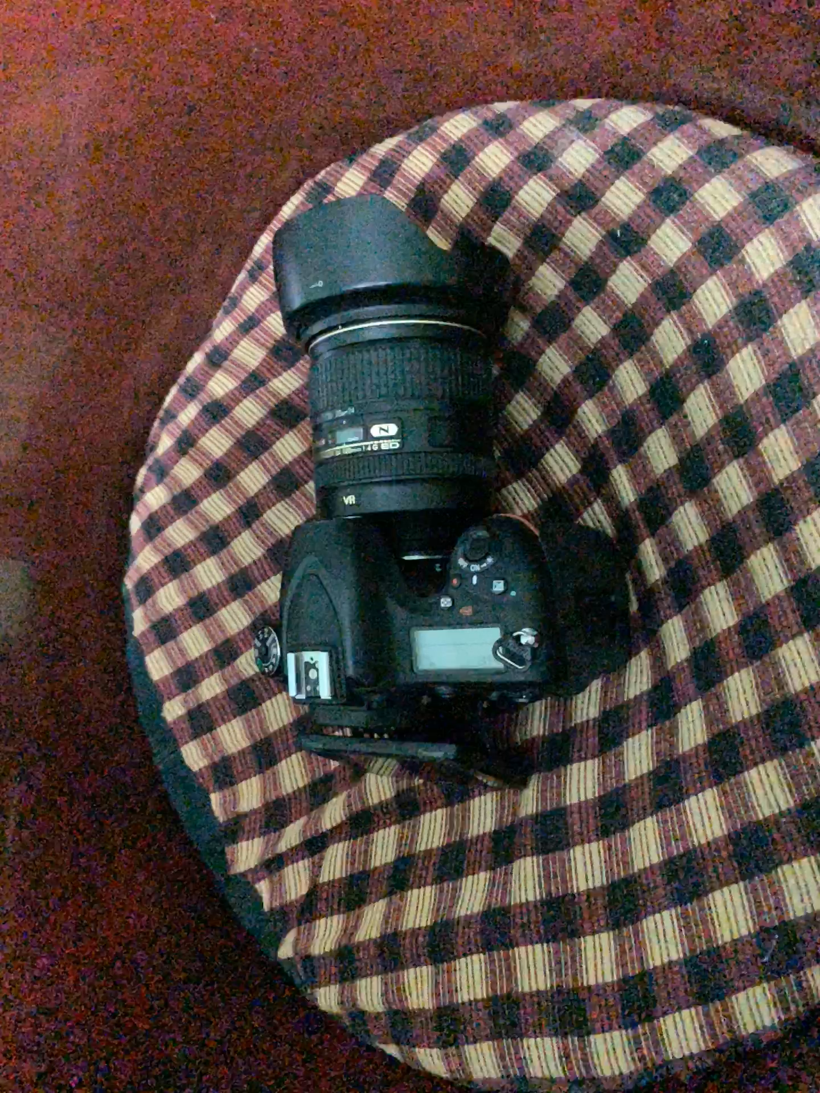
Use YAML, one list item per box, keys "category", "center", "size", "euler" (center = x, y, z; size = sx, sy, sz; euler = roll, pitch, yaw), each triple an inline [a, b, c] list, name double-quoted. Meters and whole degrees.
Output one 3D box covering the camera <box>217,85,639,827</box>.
- category: "camera"
  center: [0.006, -0.026, 0.361]
  size: [0.141, 0.101, 0.250]
  euler: [-5, 82, 37]
